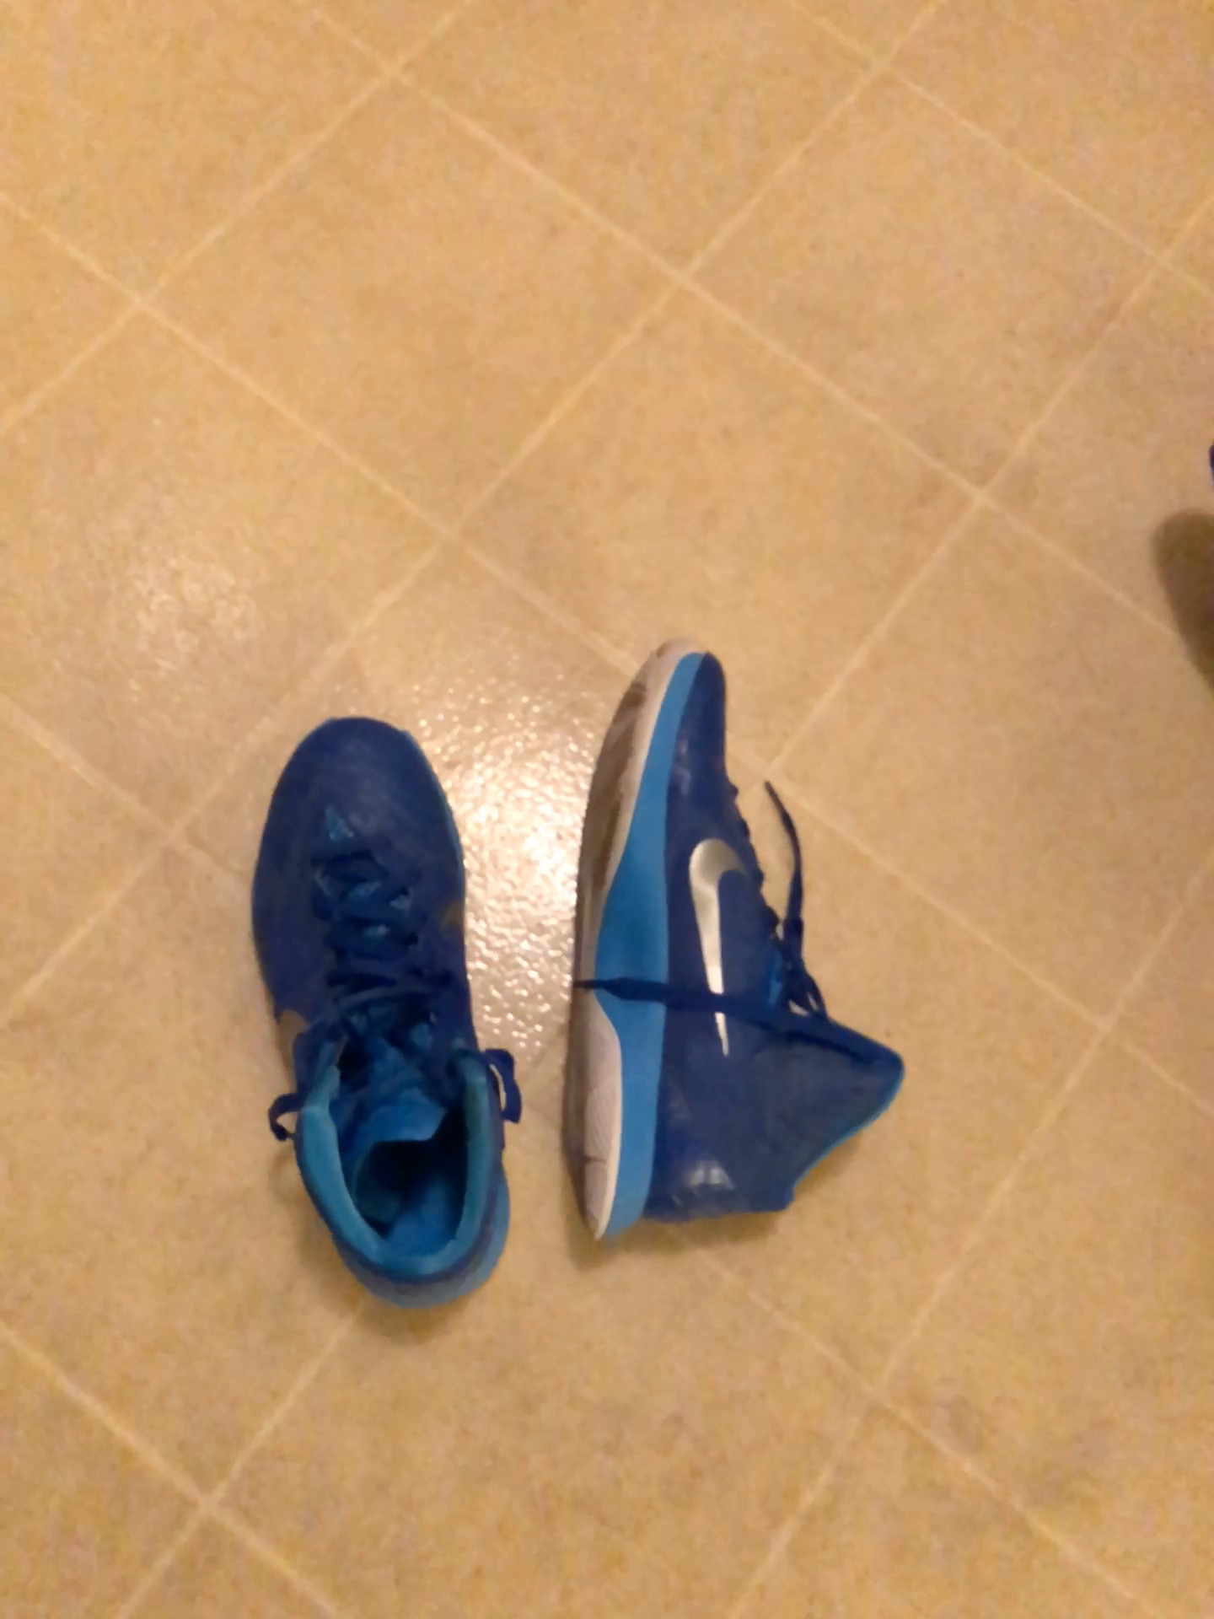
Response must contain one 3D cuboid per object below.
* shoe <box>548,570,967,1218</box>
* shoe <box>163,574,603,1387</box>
[{"bbox_3d":[0.060,0.046,0.645,0.159,0.120,0.282,3,74,-11],"label":"shoe"},{"bbox_3d":[-0.103,0.074,0.613,0.120,0.145,0.310,-11,76,-10],"label":"shoe"}]
